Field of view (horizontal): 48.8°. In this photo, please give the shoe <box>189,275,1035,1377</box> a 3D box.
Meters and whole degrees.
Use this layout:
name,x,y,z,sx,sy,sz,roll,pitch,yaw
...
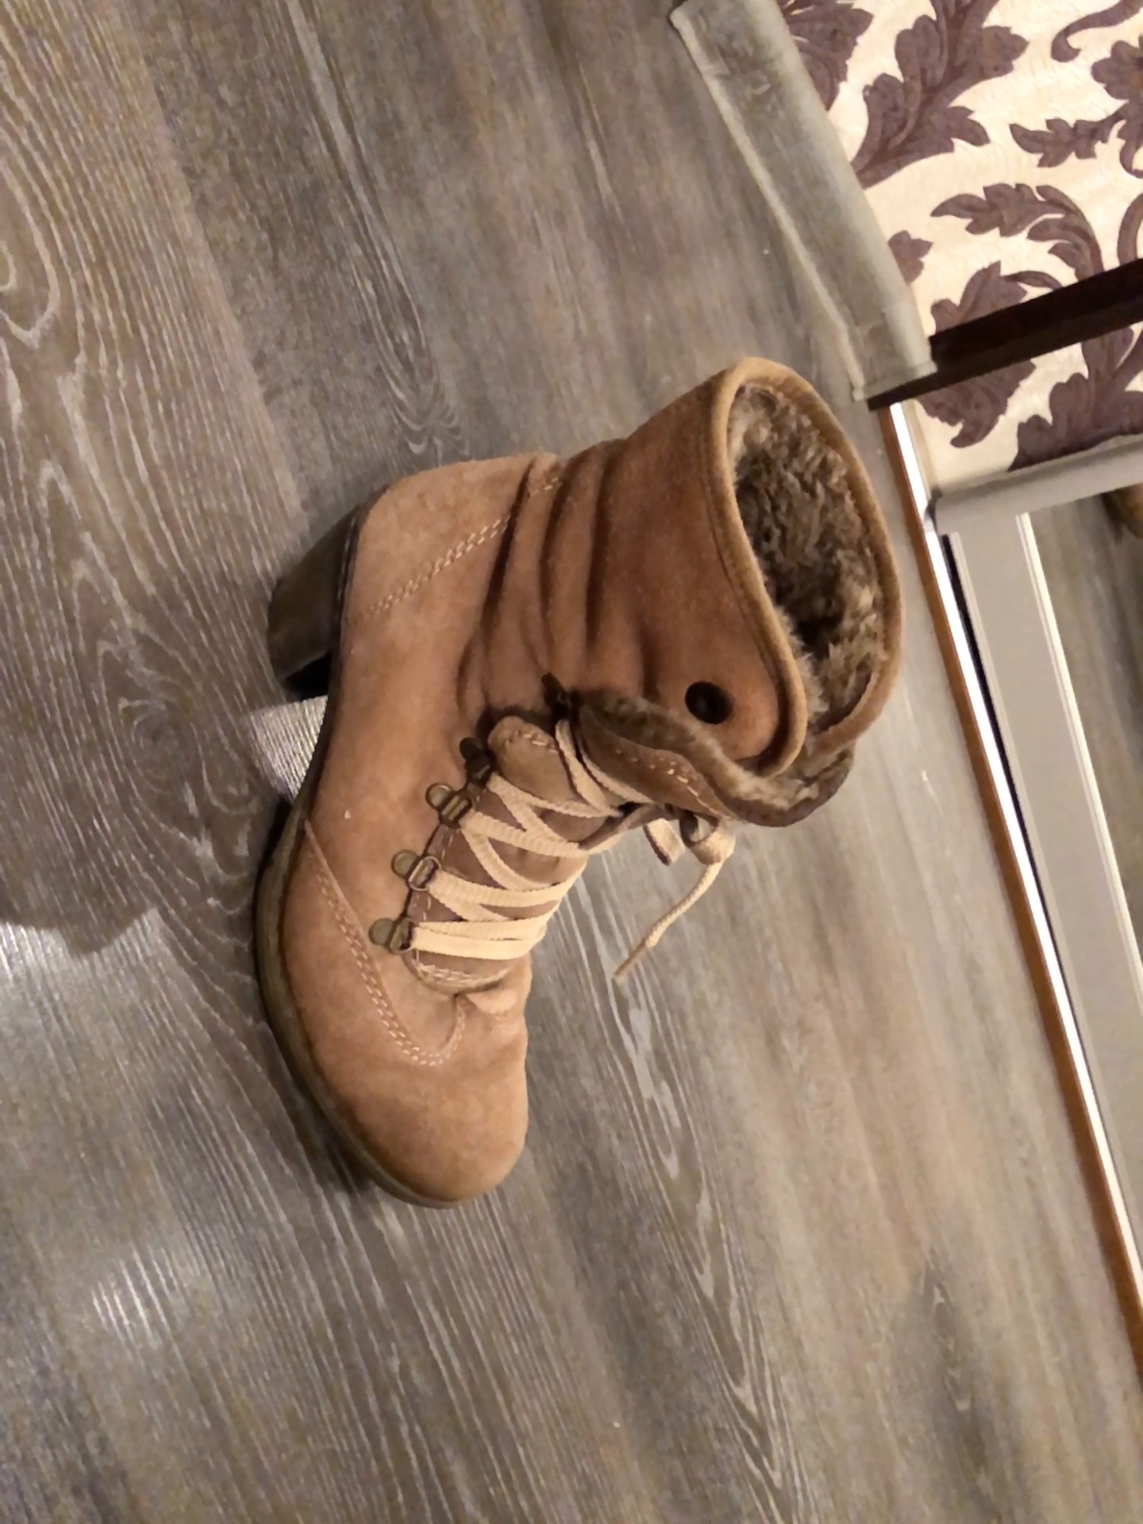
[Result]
name,x,y,z,sx,sy,sz,roll,pitch,yaw
shoe,0.004,0.023,0.368,0.101,0.189,0.240,-4,84,-53
